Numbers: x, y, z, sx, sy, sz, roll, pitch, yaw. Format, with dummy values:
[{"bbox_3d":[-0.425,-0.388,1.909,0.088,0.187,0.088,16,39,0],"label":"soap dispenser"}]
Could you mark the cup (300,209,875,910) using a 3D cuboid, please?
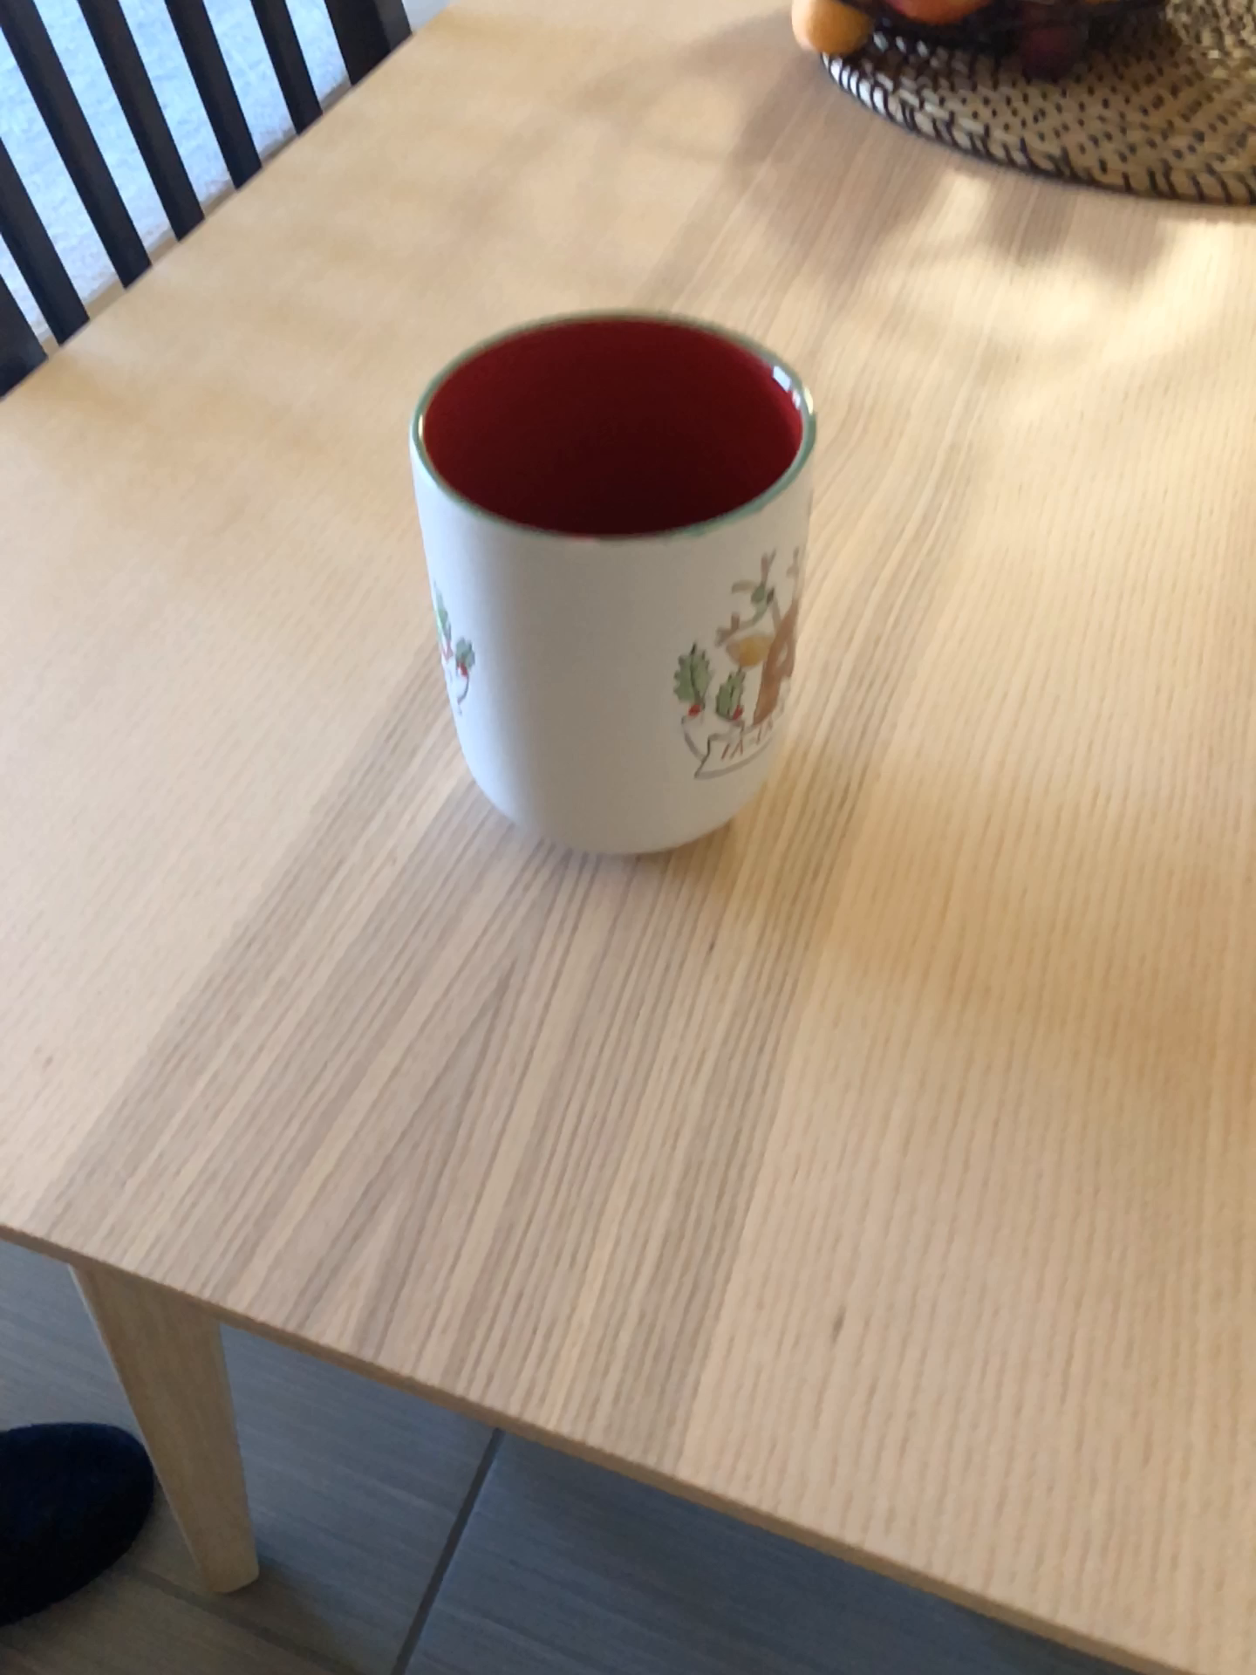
[{"bbox_3d":[-0.001,-0.075,0.357,0.100,0.100,0.141,10,51,9],"label":"cup"}]
